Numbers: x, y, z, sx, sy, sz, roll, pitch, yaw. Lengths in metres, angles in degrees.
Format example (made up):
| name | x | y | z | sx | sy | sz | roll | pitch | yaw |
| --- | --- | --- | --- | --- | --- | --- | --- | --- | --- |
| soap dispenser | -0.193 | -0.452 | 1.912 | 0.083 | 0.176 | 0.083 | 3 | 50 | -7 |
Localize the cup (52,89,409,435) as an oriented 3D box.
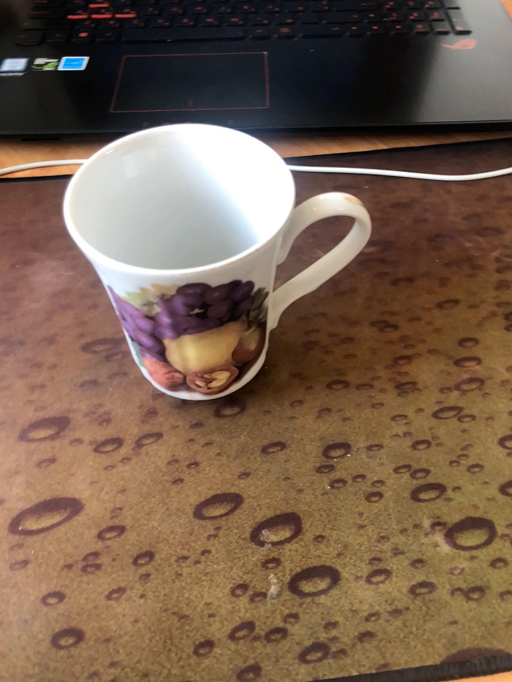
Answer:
| name | x | y | z | sx | sy | sz | roll | pitch | yaw |
| --- | --- | --- | --- | --- | --- | --- | --- | --- | --- |
| cup | -0.013 | -0.030 | 0.214 | 0.100 | 0.080 | 0.080 | -12 | 52 | -8 |
